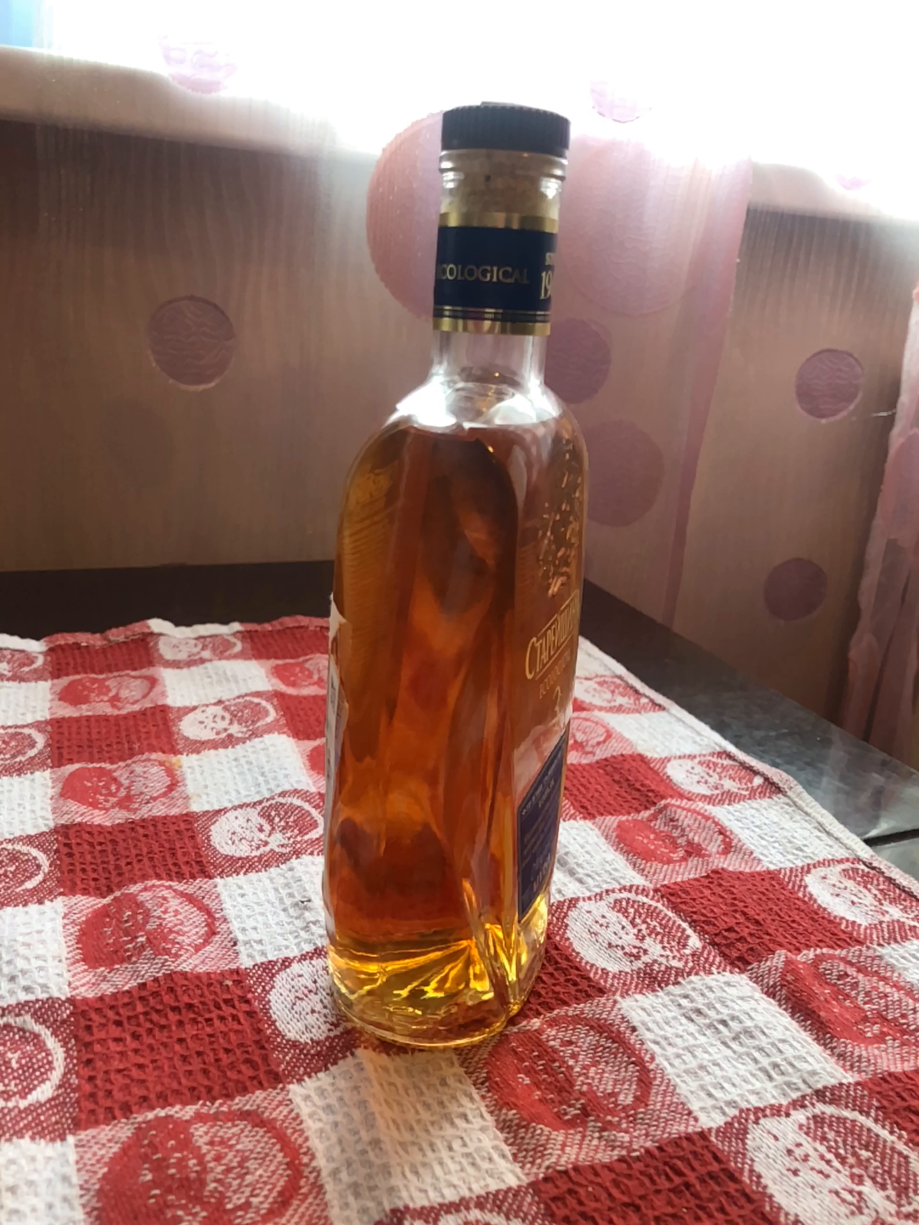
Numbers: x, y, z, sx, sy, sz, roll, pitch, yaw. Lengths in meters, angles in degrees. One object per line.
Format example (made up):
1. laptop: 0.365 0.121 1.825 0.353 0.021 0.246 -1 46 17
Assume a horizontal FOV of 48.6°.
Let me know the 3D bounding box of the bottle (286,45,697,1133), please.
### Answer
1. bottle: 0.010 -0.006 0.254 0.050 0.219 0.110 11 18 19
